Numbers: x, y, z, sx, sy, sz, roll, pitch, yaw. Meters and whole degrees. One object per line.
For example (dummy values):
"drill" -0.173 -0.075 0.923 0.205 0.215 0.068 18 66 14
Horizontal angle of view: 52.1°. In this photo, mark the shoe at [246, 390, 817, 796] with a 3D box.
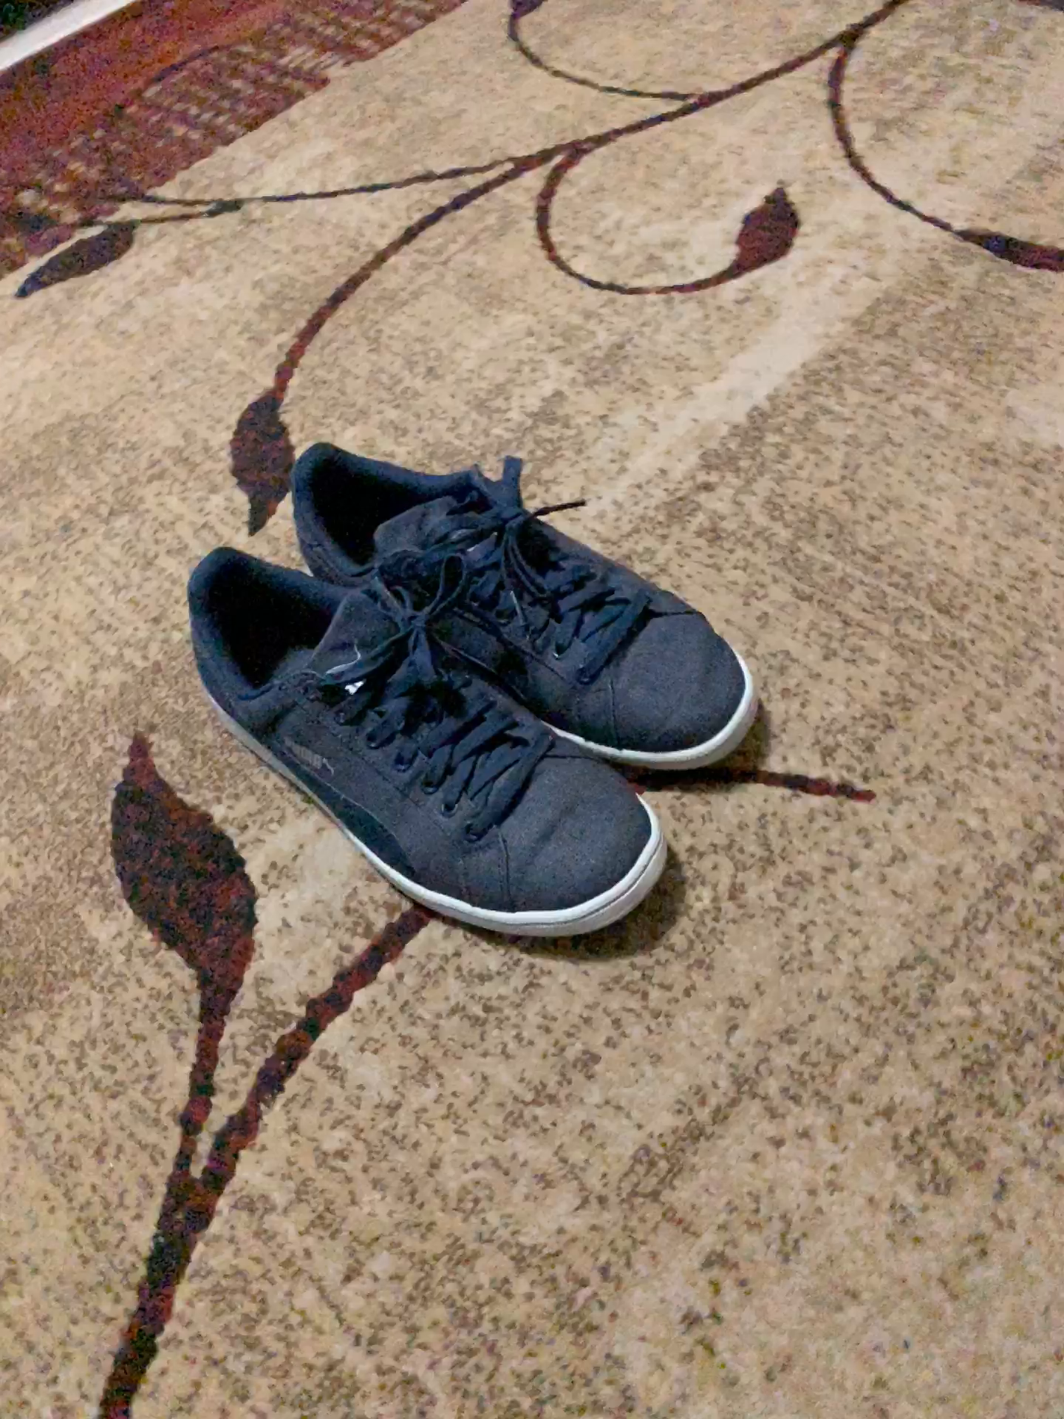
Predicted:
"shoe" -0.007 -0.069 0.549 0.275 0.050 0.100 28 64 25

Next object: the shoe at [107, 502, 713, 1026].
"shoe" -0.060 0.016 0.523 0.275 0.090 0.106 30 65 26
